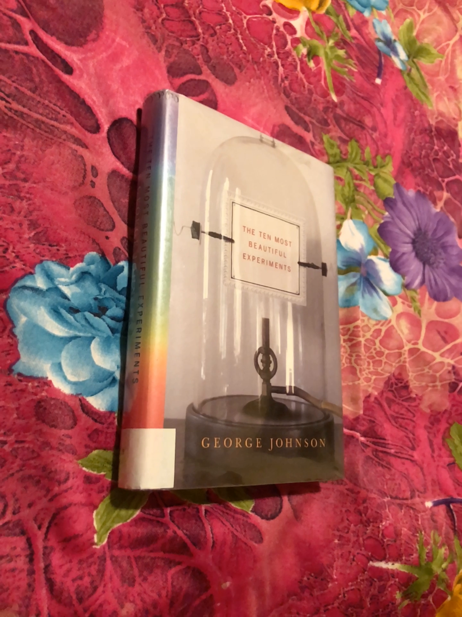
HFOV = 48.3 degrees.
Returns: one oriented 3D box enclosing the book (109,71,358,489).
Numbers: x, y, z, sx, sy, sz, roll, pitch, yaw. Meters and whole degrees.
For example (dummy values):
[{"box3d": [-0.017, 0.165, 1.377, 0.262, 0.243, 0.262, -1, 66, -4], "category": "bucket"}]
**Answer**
[{"box3d": [0.008, -0.010, 0.290, 0.141, 0.030, 0.200, 10, 73, -37], "category": "book"}]
